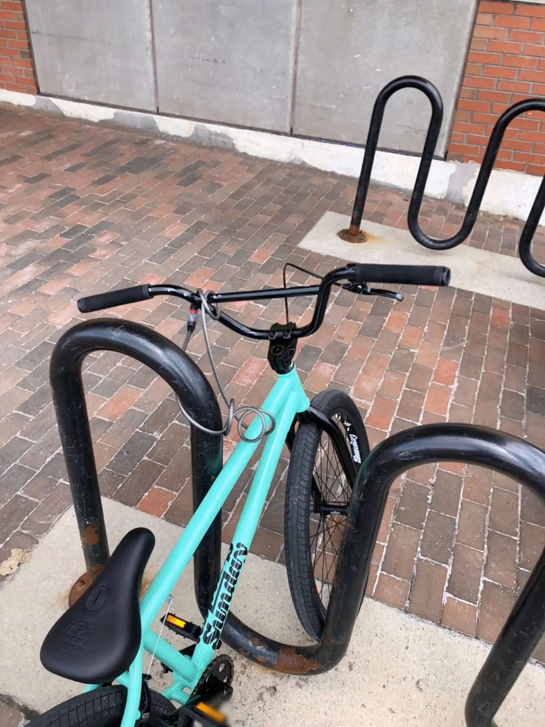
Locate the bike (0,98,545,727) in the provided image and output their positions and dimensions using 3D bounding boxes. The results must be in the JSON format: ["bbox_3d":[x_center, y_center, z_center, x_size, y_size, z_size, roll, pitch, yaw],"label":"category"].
[{"bbox_3d":[-0.126,0.345,1.020,0.810,1.067,1.471,19,41,20],"label":"bike"}]
